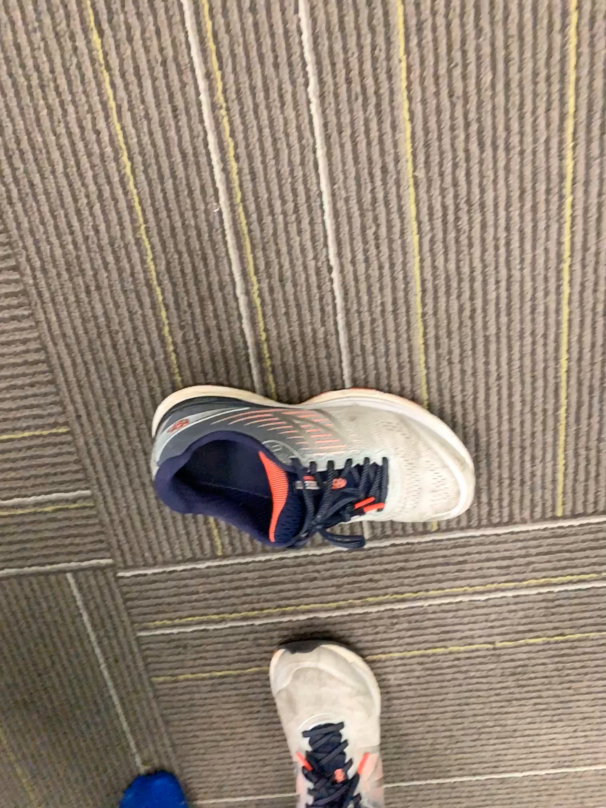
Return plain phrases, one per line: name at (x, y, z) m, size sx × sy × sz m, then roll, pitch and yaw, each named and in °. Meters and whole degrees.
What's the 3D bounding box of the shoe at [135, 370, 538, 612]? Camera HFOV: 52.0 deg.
shoe at (0.018, 0.061, 0.476) m, size 0.260 × 0.120 × 0.110 m, roll 6°, pitch 114°, yaw -2°
